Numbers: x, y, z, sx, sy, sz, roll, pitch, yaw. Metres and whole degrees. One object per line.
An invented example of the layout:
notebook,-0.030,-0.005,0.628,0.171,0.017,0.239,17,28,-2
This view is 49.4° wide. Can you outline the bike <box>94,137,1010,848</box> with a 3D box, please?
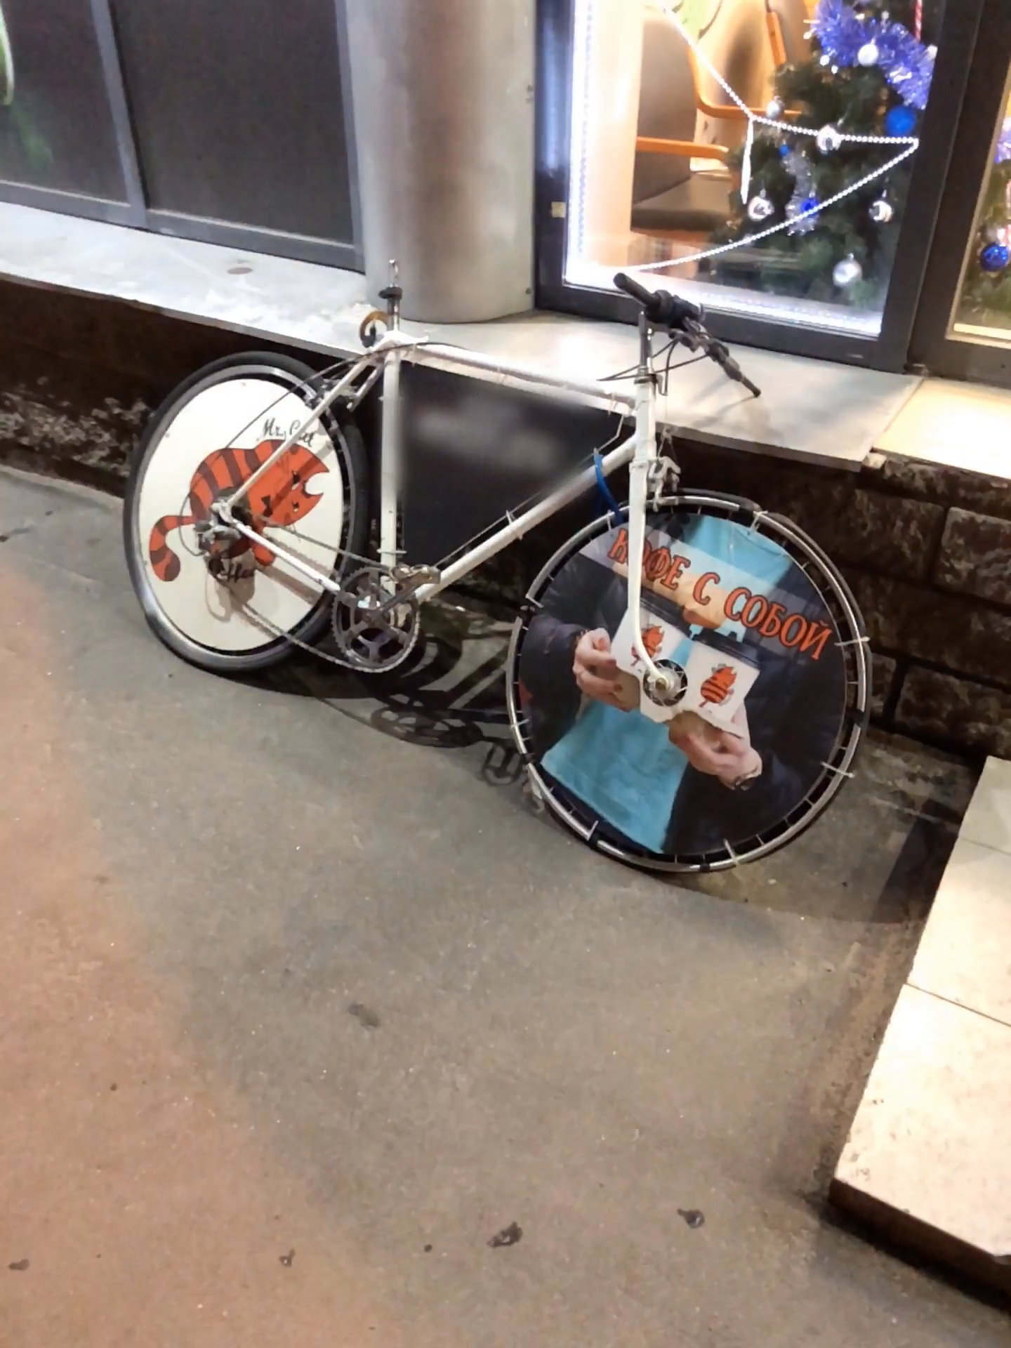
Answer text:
bike,0.072,-0.446,2.150,1.587,0.917,0.571,20,40,27
